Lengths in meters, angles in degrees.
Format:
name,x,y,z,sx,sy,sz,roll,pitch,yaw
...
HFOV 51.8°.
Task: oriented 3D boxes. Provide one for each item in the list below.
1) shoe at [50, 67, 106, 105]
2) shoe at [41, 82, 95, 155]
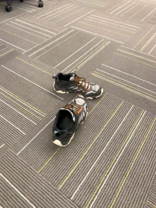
name,x,y,z,sx,sy,sz,roll,pitch,yaw
shoe,0.003,-0.112,0.972,0.300,0.119,0.121,13,50,11
shoe,-0.036,0.063,0.849,0.140,0.149,0.341,17,51,14
